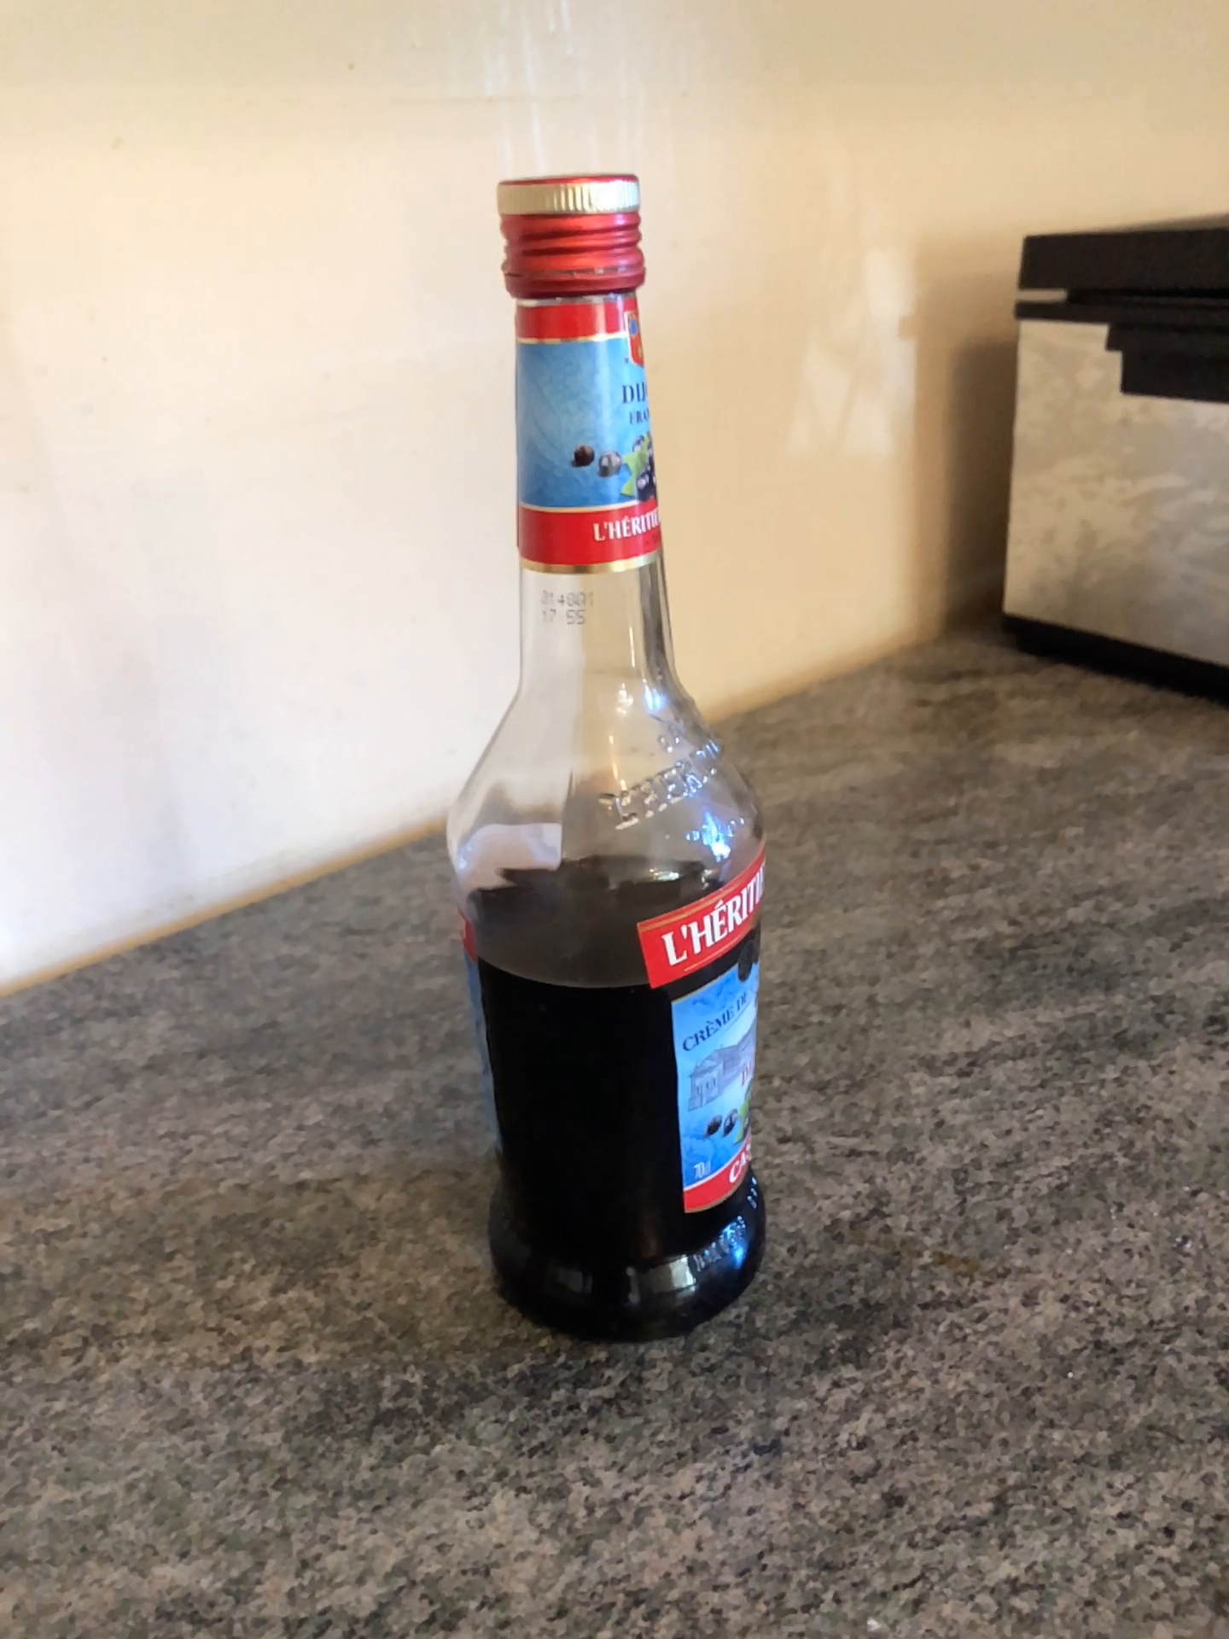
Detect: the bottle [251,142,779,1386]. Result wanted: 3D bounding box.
[{"bbox_3d":[-0.009,-0.006,0.355,0.090,0.298,0.091,-3,23,1],"label":"bottle"}]
